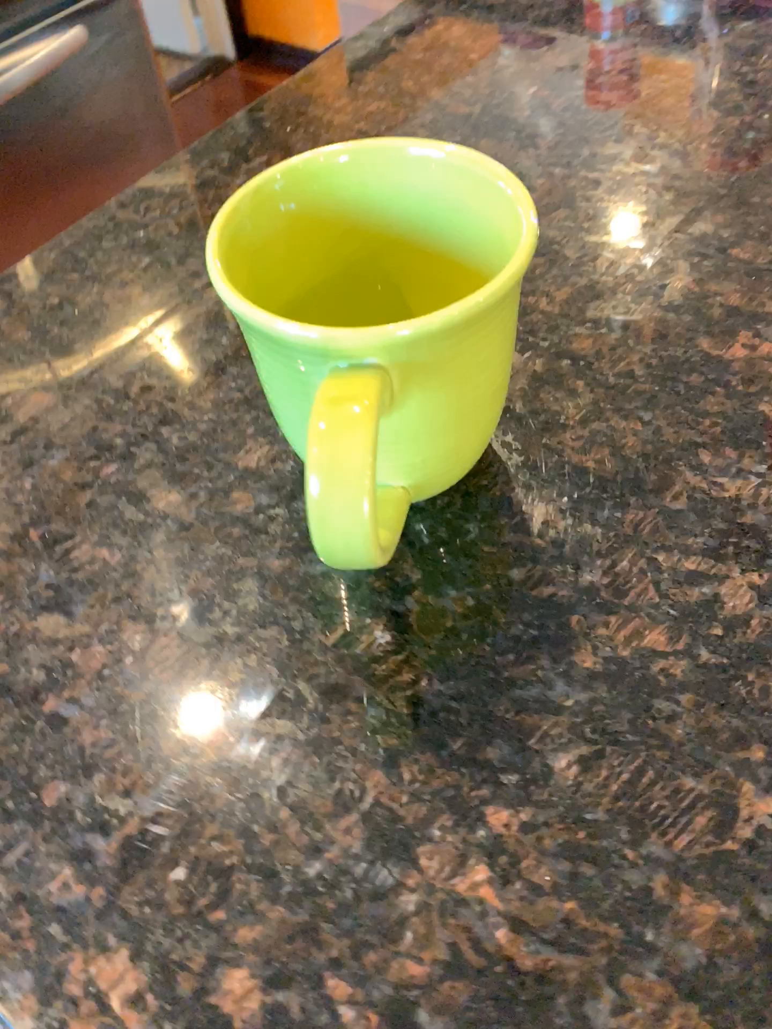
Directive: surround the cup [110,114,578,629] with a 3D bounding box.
[{"bbox_3d":[-0.007,-0.050,0.263,0.110,0.080,0.151,-3,53,4],"label":"cup"}]
